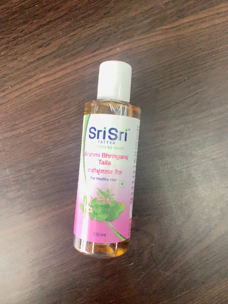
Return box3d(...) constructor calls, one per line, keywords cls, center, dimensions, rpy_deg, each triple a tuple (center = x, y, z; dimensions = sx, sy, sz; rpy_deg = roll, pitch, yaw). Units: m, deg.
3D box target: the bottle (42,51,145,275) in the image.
box3d(cls="bottle", center=(-0.012, 0.006, 0.162), dimensions=(0.050, 0.040, 0.130), rpy_deg=(5, 89, 3))
